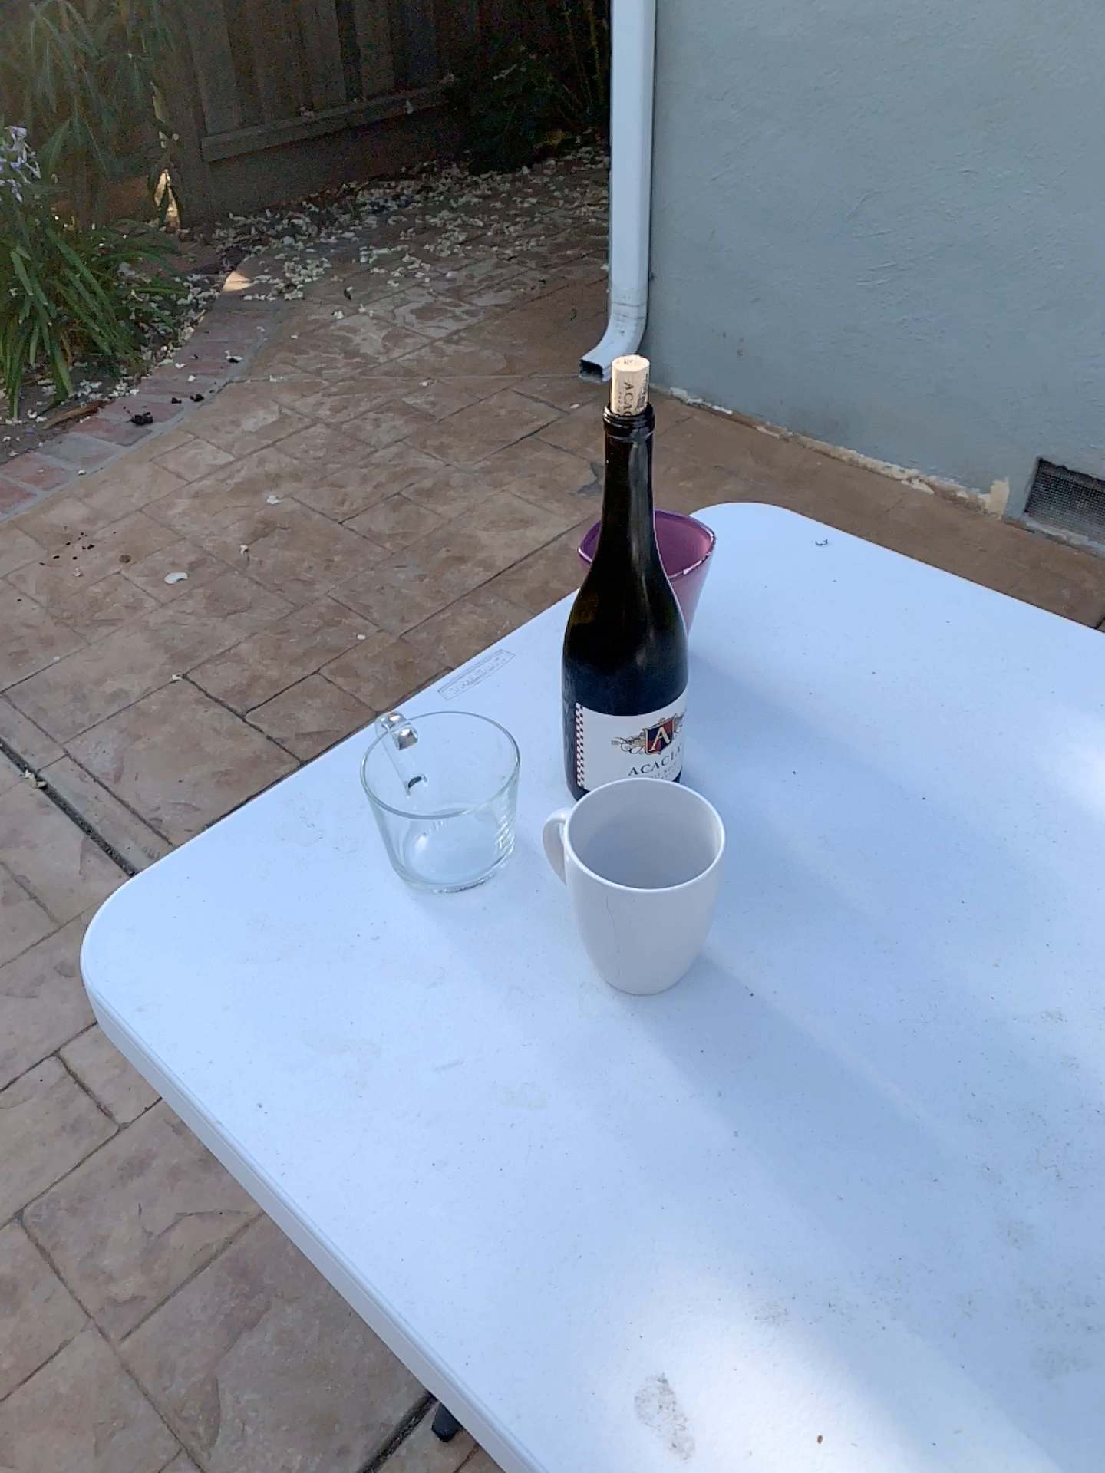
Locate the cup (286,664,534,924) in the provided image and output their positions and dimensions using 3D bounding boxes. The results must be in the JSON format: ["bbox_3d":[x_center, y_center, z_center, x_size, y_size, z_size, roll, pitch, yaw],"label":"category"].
[{"bbox_3d":[-0.093,0.034,0.749,0.100,0.080,0.131,-29,47,-28],"label":"cup"}]

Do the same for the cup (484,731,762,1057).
[{"bbox_3d":[0.040,0.092,0.682,0.131,0.119,0.090,30,50,32],"label":"cup"}]

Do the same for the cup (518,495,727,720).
[{"bbox_3d":[0.055,-0.104,0.887,0.100,0.099,0.130,27,48,29],"label":"cup"}]
